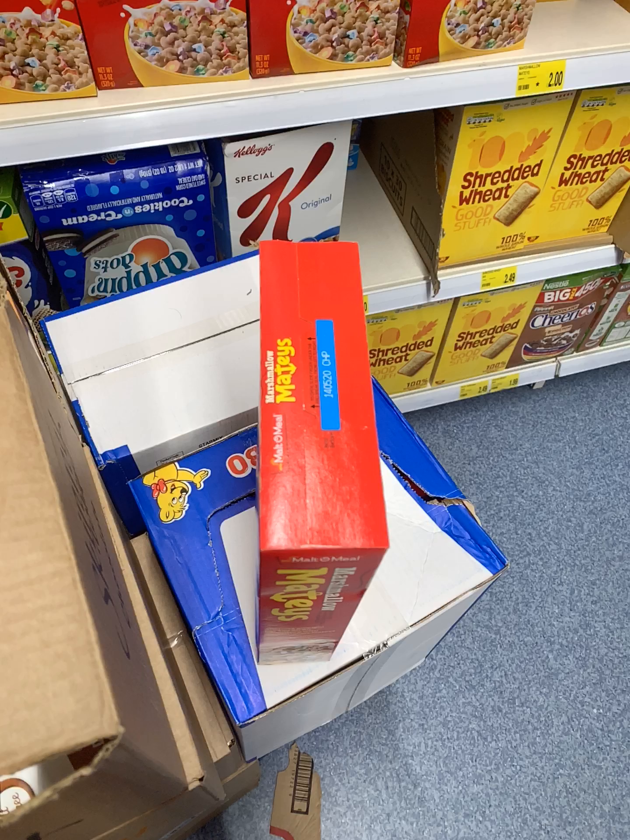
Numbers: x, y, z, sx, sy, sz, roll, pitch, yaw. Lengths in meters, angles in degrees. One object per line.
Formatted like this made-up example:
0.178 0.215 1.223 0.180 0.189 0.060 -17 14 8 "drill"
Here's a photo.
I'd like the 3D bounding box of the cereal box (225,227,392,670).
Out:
-0.013 0.046 0.441 0.070 0.288 0.191 2 60 -4 "cereal box"
